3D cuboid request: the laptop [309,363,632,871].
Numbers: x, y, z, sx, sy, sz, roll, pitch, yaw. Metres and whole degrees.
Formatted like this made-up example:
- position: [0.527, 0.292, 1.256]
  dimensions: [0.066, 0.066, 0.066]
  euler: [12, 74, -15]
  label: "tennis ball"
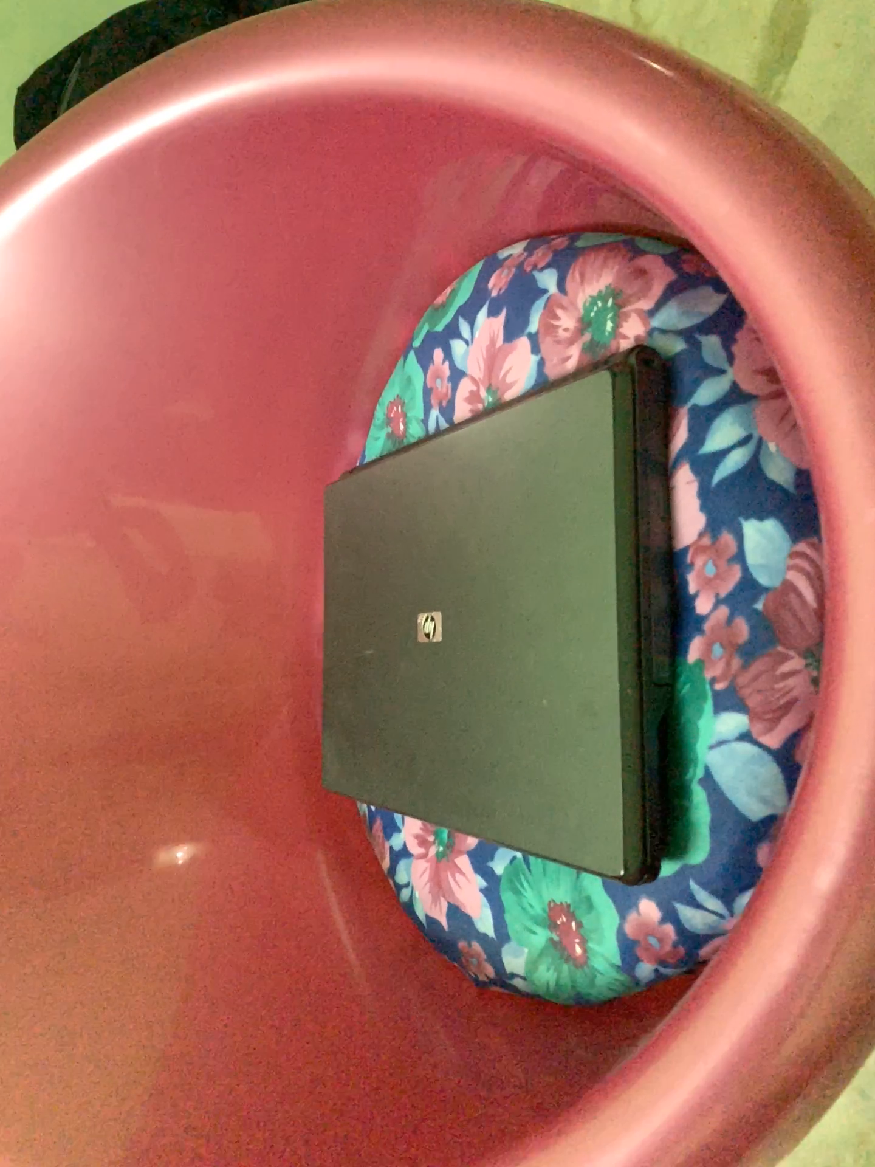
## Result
- position: [-0.005, 0.023, 0.517]
  dimensions: [0.306, 0.003, 0.222]
  euler: [-7, 82, 56]
  label: "laptop"
